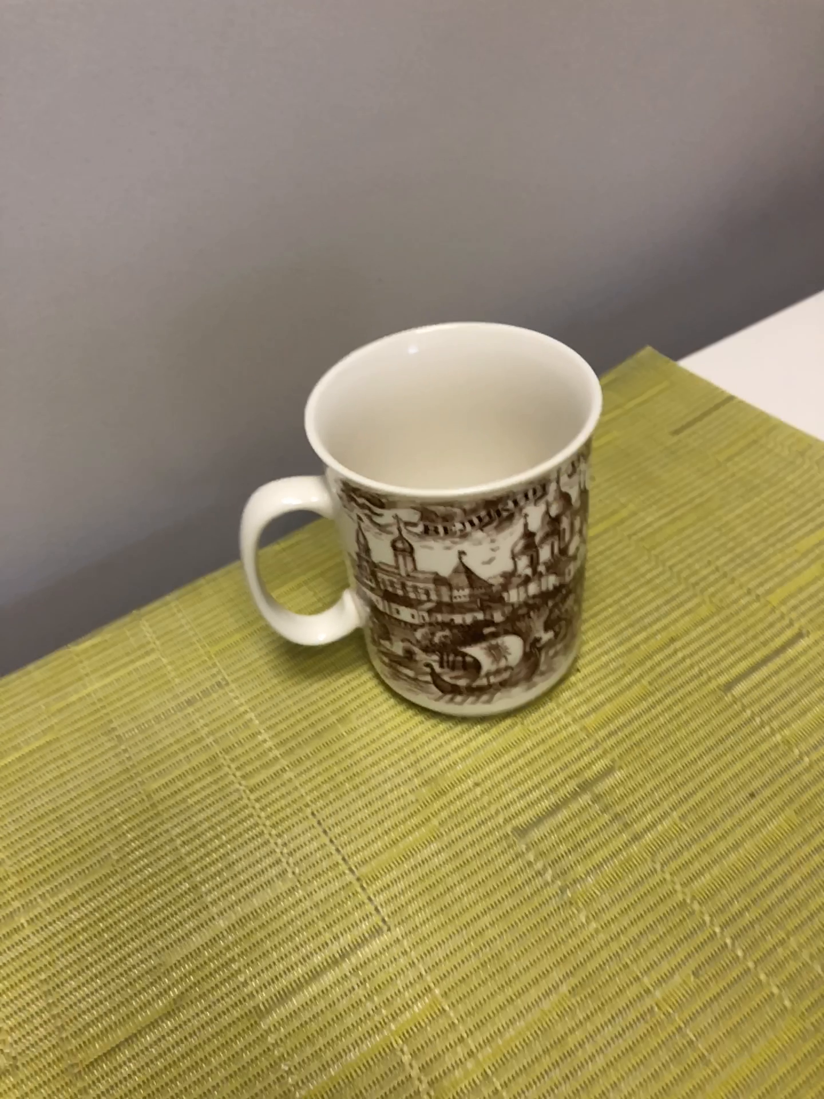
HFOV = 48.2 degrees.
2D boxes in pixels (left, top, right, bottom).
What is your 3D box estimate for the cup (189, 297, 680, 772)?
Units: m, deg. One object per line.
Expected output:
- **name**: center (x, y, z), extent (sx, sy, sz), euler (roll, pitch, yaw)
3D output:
- **cup**: center (0.004, -0.007, 0.294), extent (0.124, 0.092, 0.095), euler (-10, 43, -3)
